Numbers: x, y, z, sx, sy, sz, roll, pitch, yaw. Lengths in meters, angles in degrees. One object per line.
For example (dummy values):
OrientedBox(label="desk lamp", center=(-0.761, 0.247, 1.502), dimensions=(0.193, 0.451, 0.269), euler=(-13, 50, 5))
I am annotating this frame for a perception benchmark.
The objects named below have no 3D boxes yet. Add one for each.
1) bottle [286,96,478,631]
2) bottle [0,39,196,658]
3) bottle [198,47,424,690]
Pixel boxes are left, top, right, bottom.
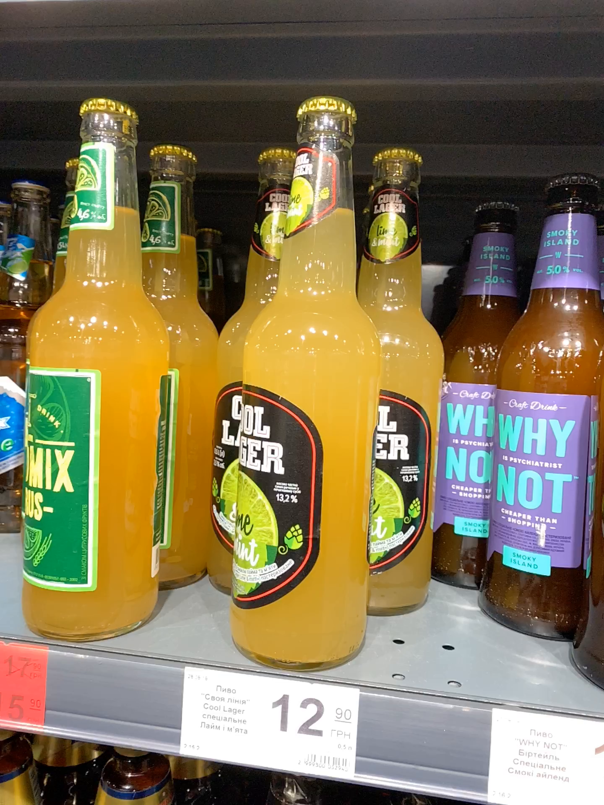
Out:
OrientedBox(label="bottle", center=(0.043, -0.019, 0.350), dimensions=(0.069, 0.260, 0.063), euler=(3, 4, 0))
OrientedBox(label="bottle", center=(-0.106, -0.023, 0.313), dimensions=(0.064, 0.260, 0.078), euler=(-1, 6, -42))
OrientedBox(label="bottle", center=(0.002, -0.012, 0.283), dimensions=(0.065, 0.244, 0.063), euler=(3, 4, 0))
